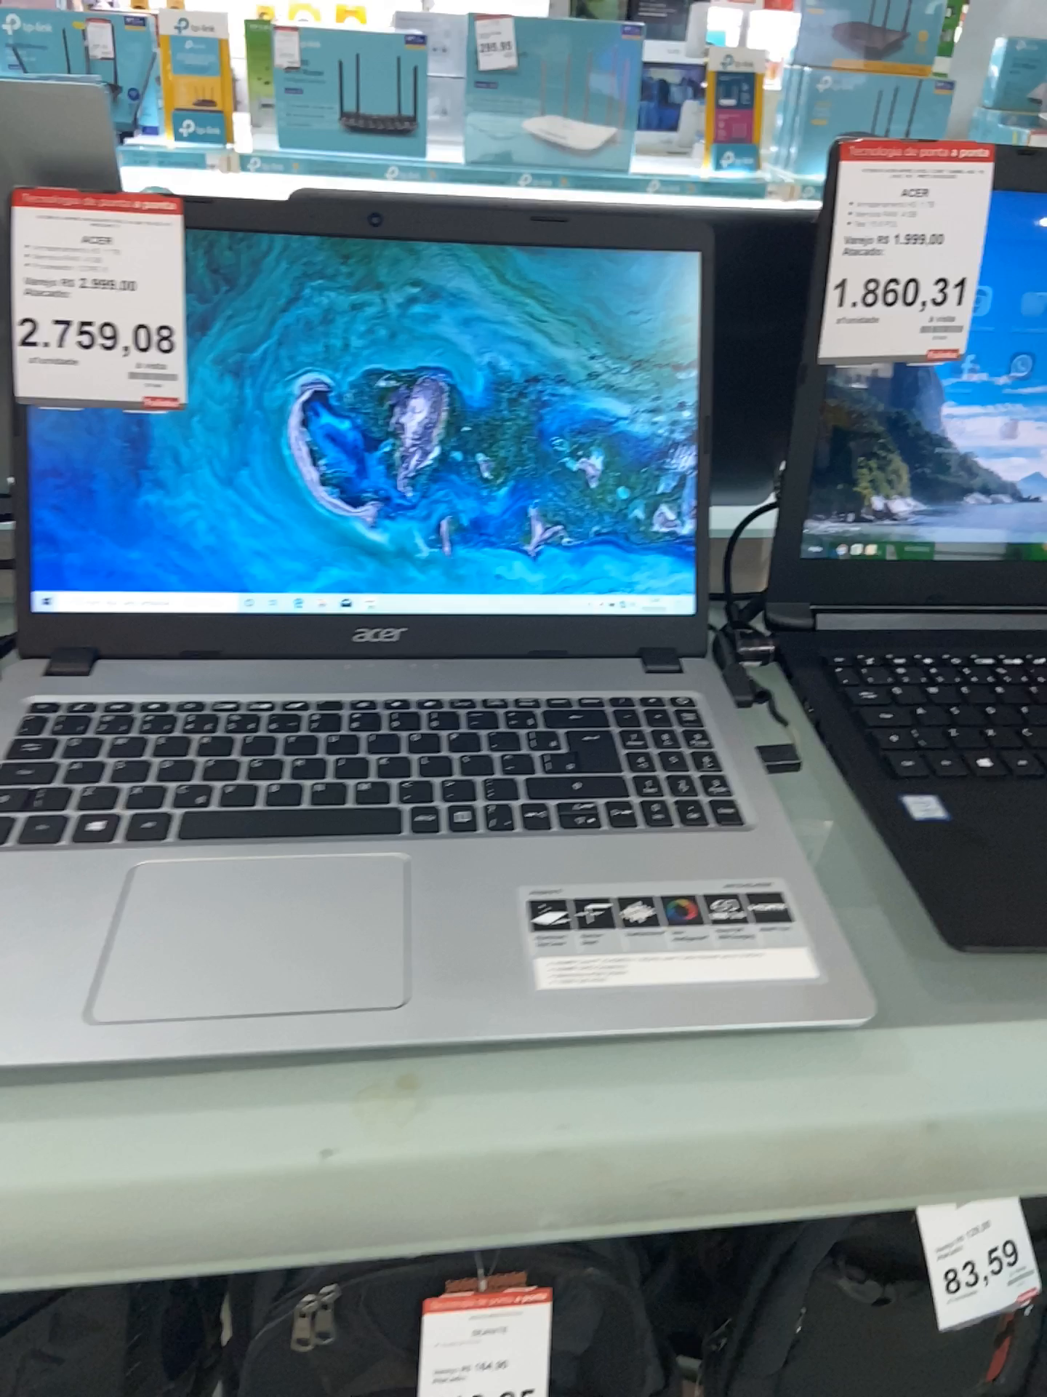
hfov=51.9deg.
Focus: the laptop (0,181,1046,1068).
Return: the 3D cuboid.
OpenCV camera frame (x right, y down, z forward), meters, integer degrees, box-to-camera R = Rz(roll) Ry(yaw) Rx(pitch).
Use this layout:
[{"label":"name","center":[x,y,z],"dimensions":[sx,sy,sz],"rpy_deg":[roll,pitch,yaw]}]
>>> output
[{"label":"laptop","center":[-0.062,-0.073,0.452],"dimensions":[0.350,0.198,0.364],"rpy_deg":[-1,33,-6]}]
